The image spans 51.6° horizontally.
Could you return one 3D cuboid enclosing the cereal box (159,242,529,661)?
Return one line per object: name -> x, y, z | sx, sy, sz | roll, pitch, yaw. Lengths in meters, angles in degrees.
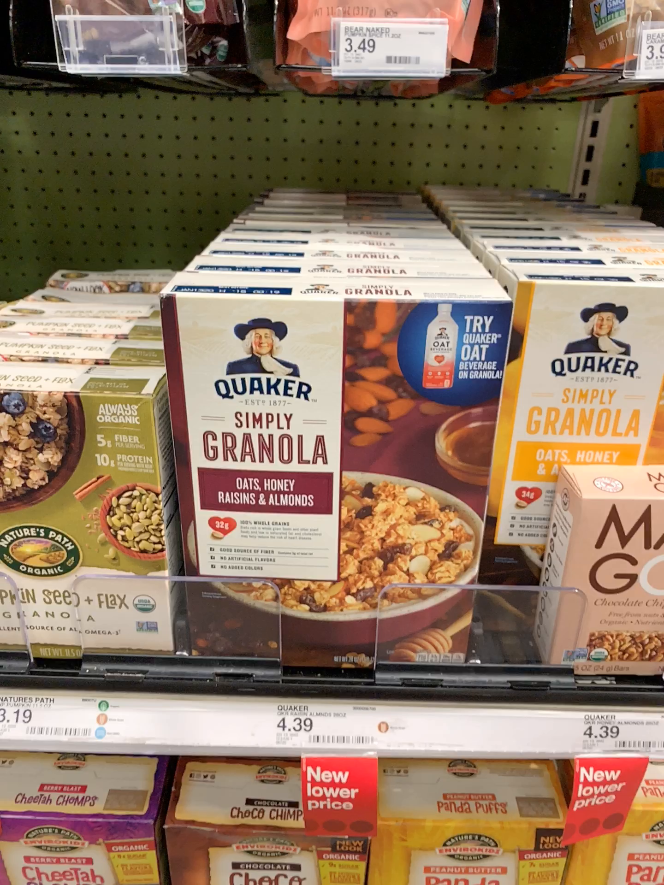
cereal box -> 0.003, 0.014, 0.416 | 0.180, 0.249, 0.060 | 2, 27, 0
